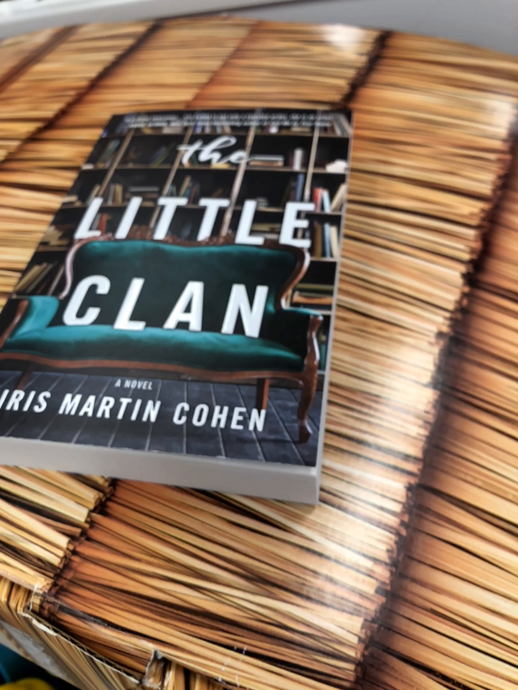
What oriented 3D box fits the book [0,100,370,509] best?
[{"bbox_3d":[-0.027,-0.036,0.241,0.130,0.030,0.191,4,50,12],"label":"book"}]
